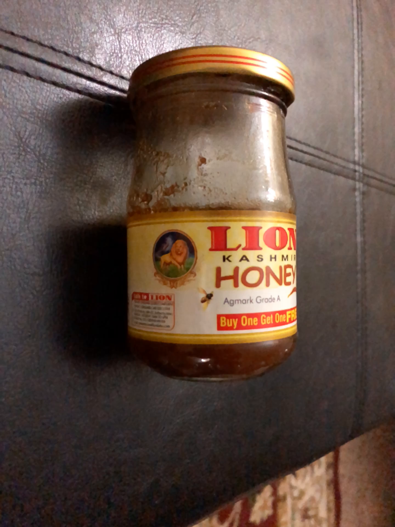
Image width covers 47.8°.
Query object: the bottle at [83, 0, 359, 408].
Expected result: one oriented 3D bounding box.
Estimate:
[{"bbox_3d":[0.006,-0.018,0.161,0.069,0.070,0.110,0,89,-37],"label":"bottle"}]
